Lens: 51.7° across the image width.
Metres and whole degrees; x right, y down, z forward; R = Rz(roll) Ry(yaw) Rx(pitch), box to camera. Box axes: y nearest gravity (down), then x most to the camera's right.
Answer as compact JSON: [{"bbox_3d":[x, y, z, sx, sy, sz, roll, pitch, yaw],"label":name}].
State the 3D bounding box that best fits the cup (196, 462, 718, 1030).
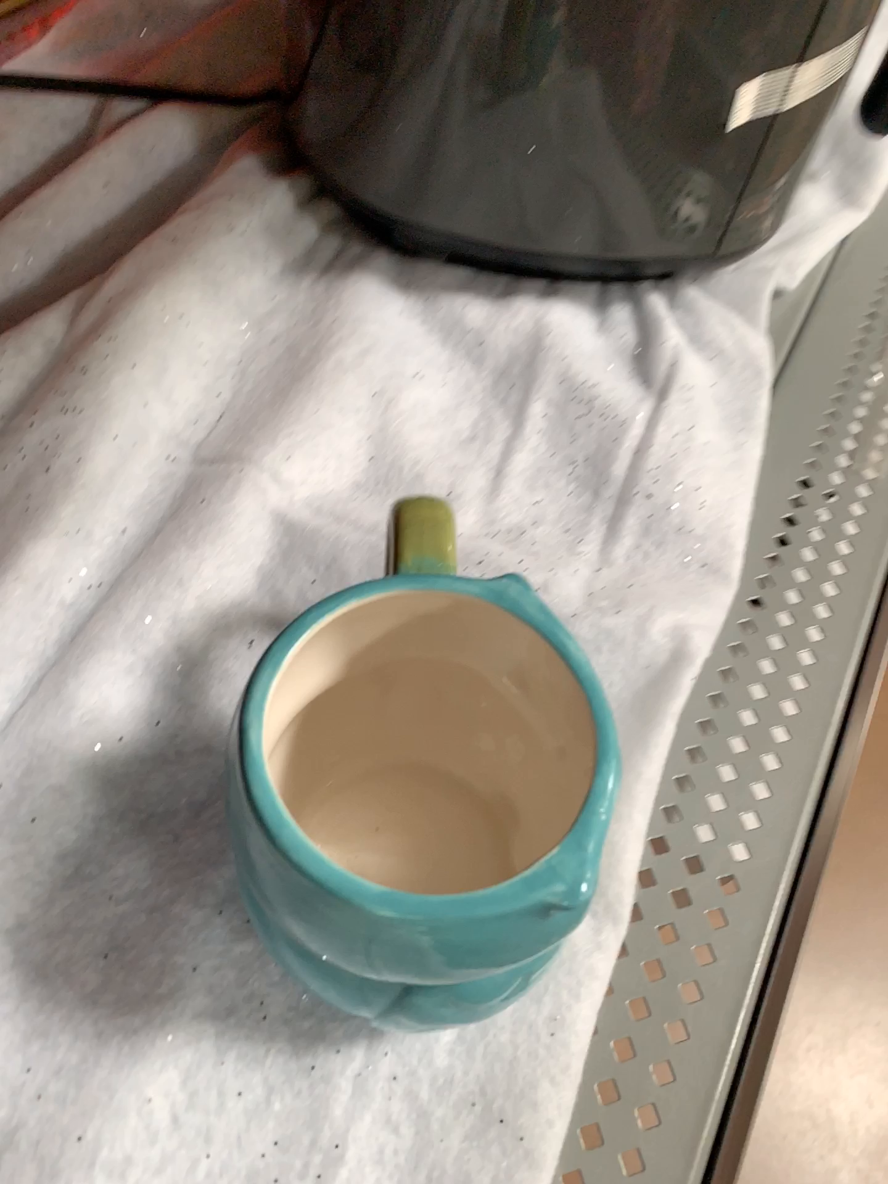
[{"bbox_3d":[-0.005,0.043,0.256,0.108,0.087,0.128,1,57,-9],"label":"cup"}]
